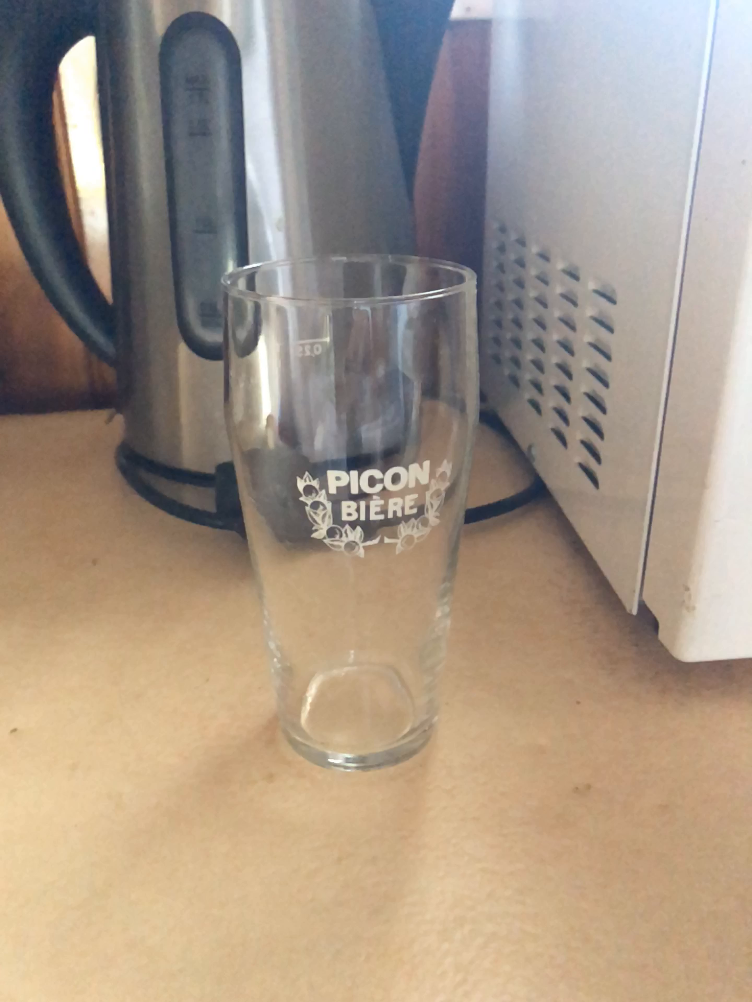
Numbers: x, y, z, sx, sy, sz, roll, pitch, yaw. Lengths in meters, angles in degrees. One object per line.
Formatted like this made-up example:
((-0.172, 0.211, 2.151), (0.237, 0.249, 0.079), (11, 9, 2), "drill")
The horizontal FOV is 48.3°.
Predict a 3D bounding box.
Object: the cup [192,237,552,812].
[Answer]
((-0.005, 0.002, 0.227), (0.070, 0.129, 0.070), (-1, 25, 0), "cup")
